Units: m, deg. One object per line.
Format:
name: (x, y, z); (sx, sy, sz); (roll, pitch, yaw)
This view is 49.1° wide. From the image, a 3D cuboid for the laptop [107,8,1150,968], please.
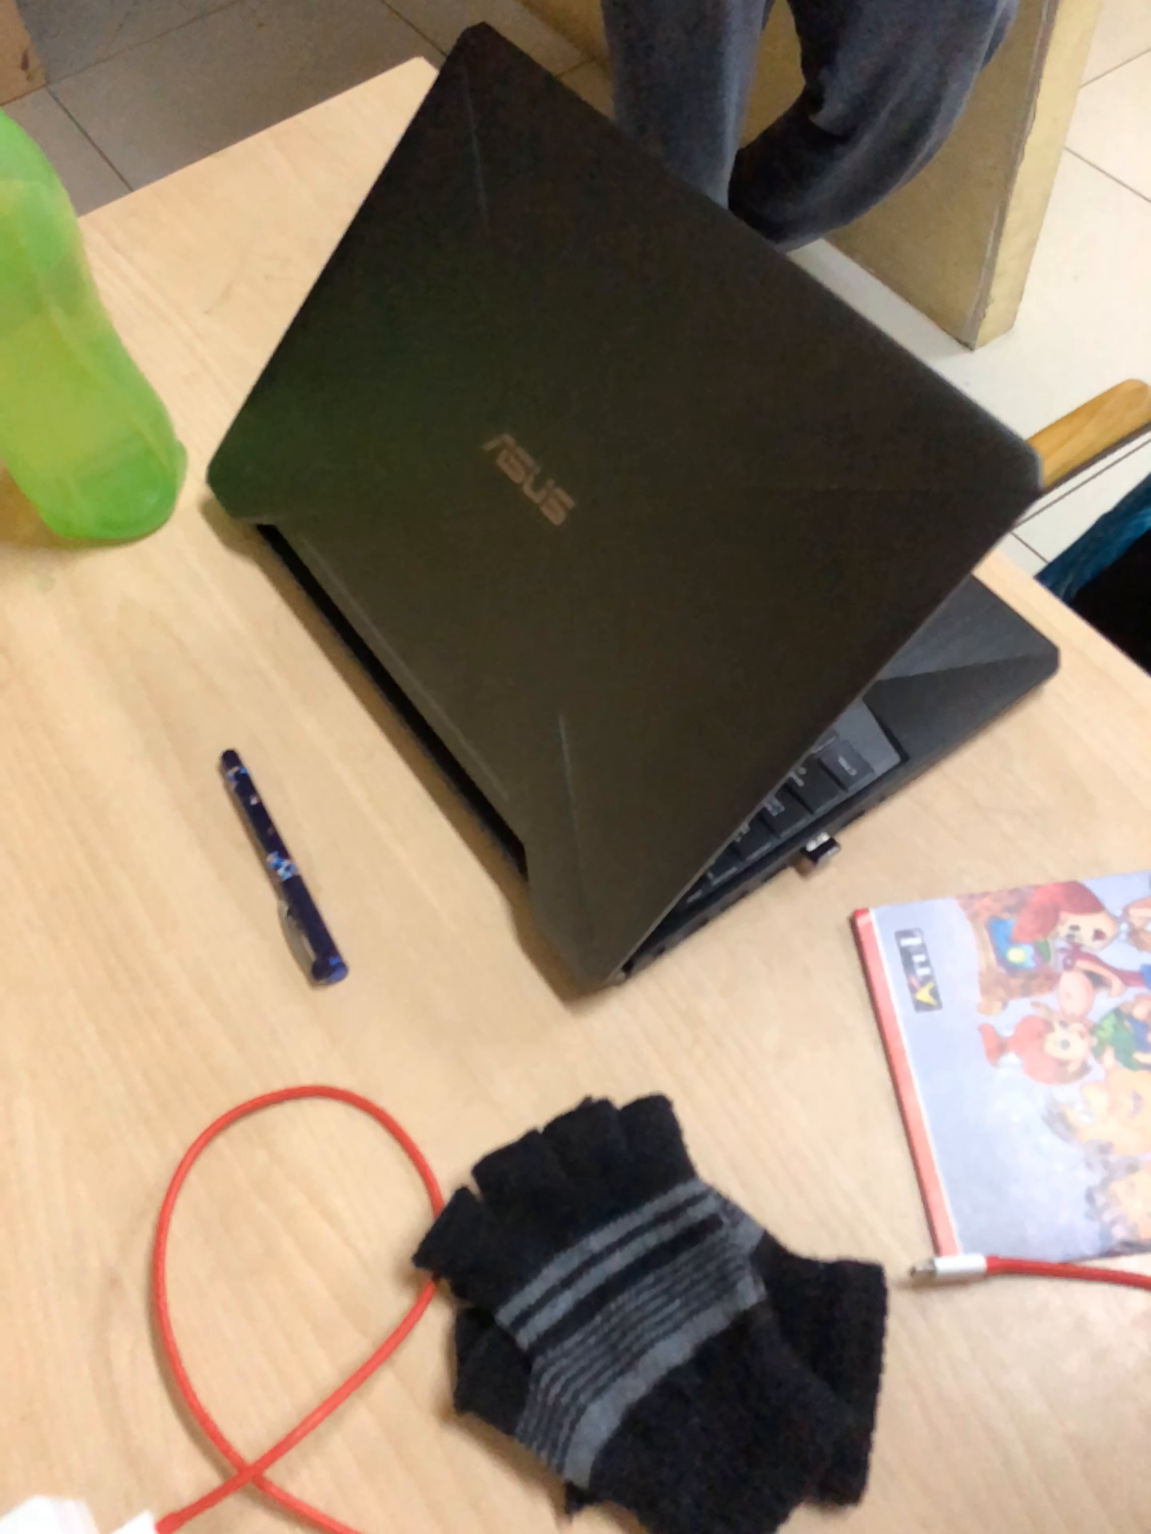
laptop: (0.011, -0.139, 0.544); (0.248, 0.147, 0.339); (-33, 63, -16)
